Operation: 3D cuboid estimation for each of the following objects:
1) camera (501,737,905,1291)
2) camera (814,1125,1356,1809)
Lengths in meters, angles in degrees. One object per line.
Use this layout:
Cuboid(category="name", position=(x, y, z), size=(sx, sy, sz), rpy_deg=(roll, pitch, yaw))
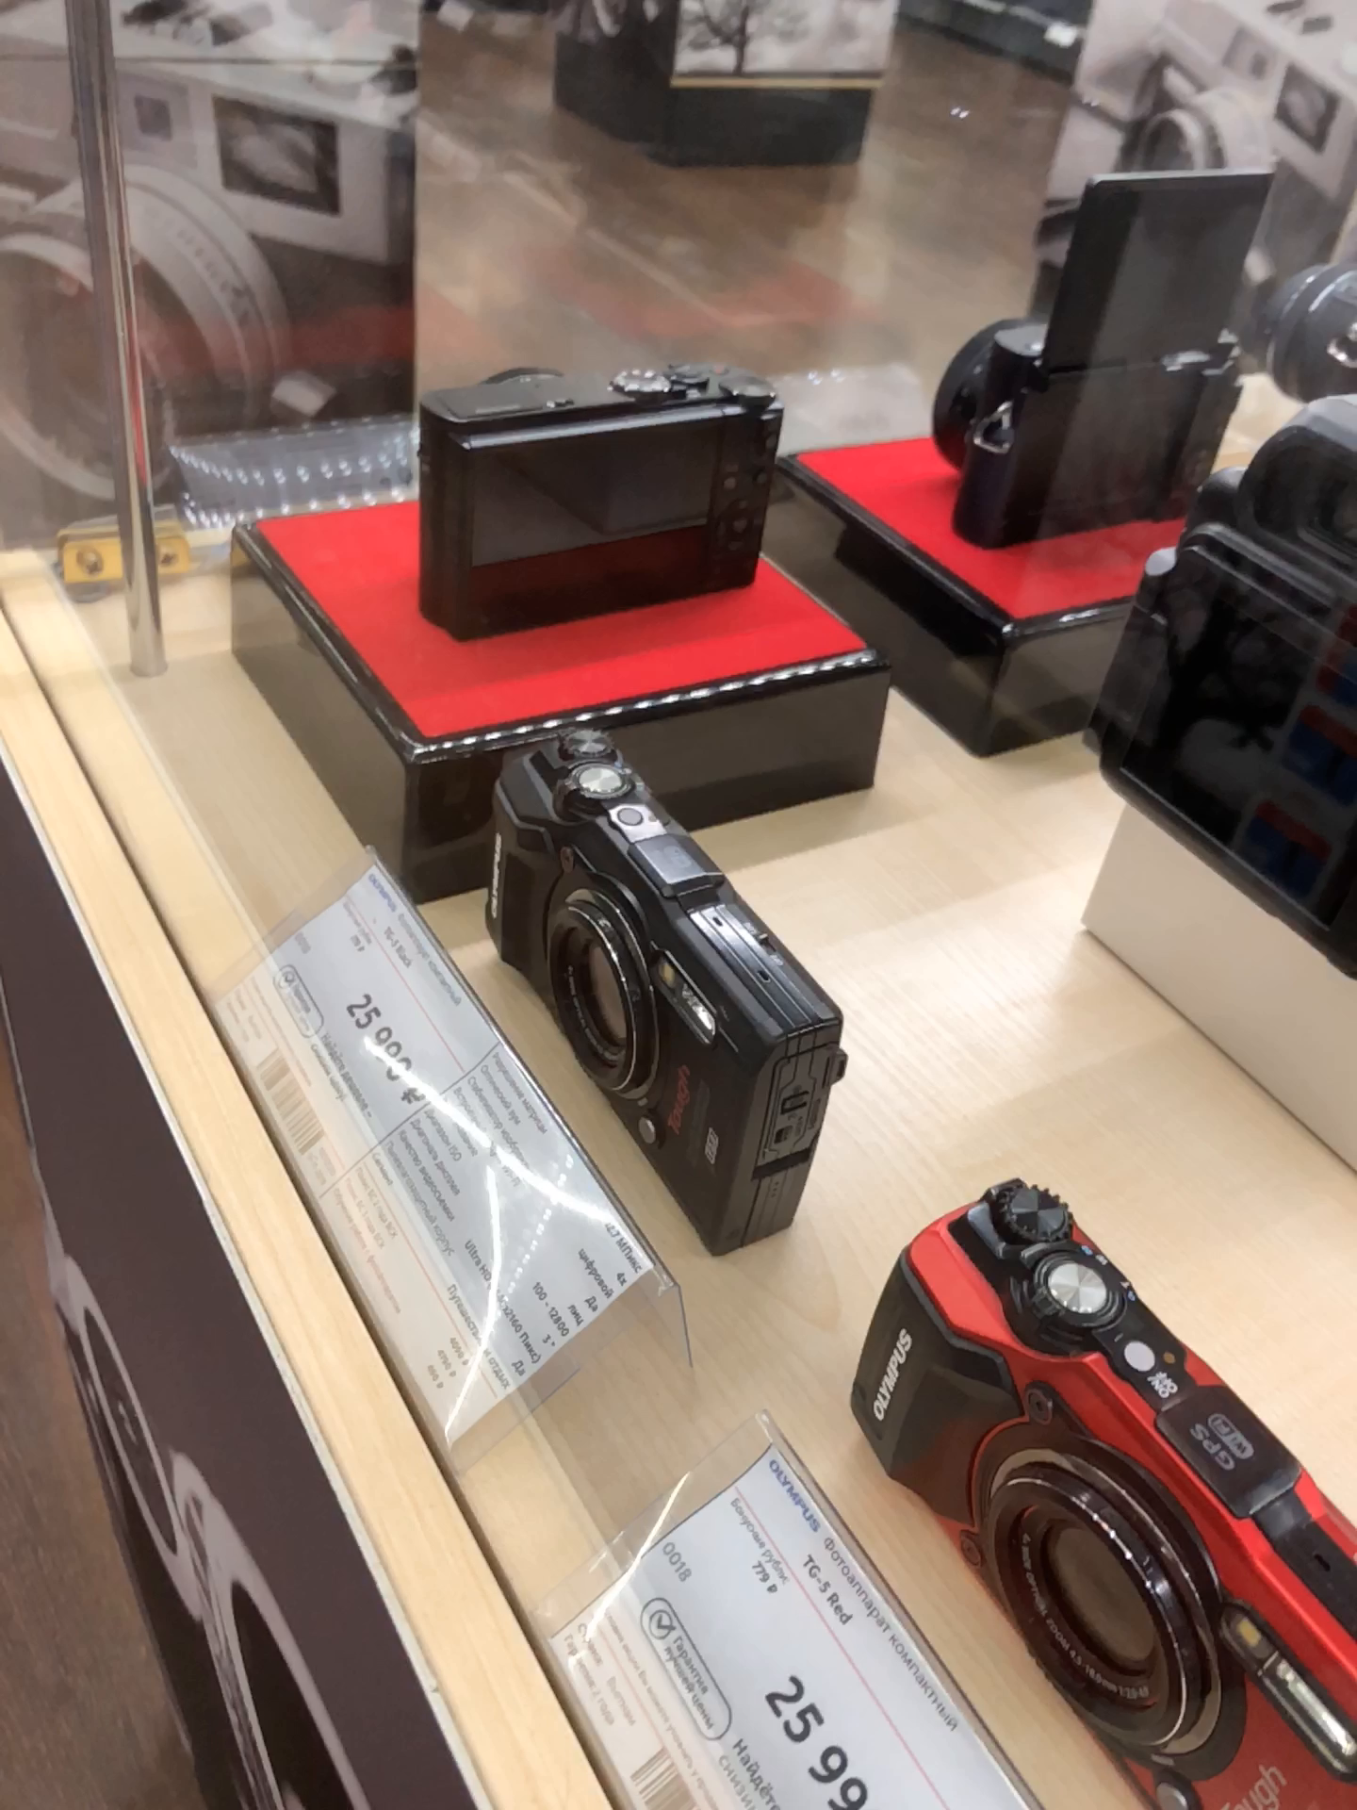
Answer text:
Cuboid(category="camera", position=(-0.001, 0.020, 0.342), size=(0.030, 0.060, 0.117), rpy_deg=(-14, 44, -27))
Cuboid(category="camera", position=(0.071, 0.100, 0.242), size=(0.030, 0.060, 0.117), rpy_deg=(-14, 44, -27))
